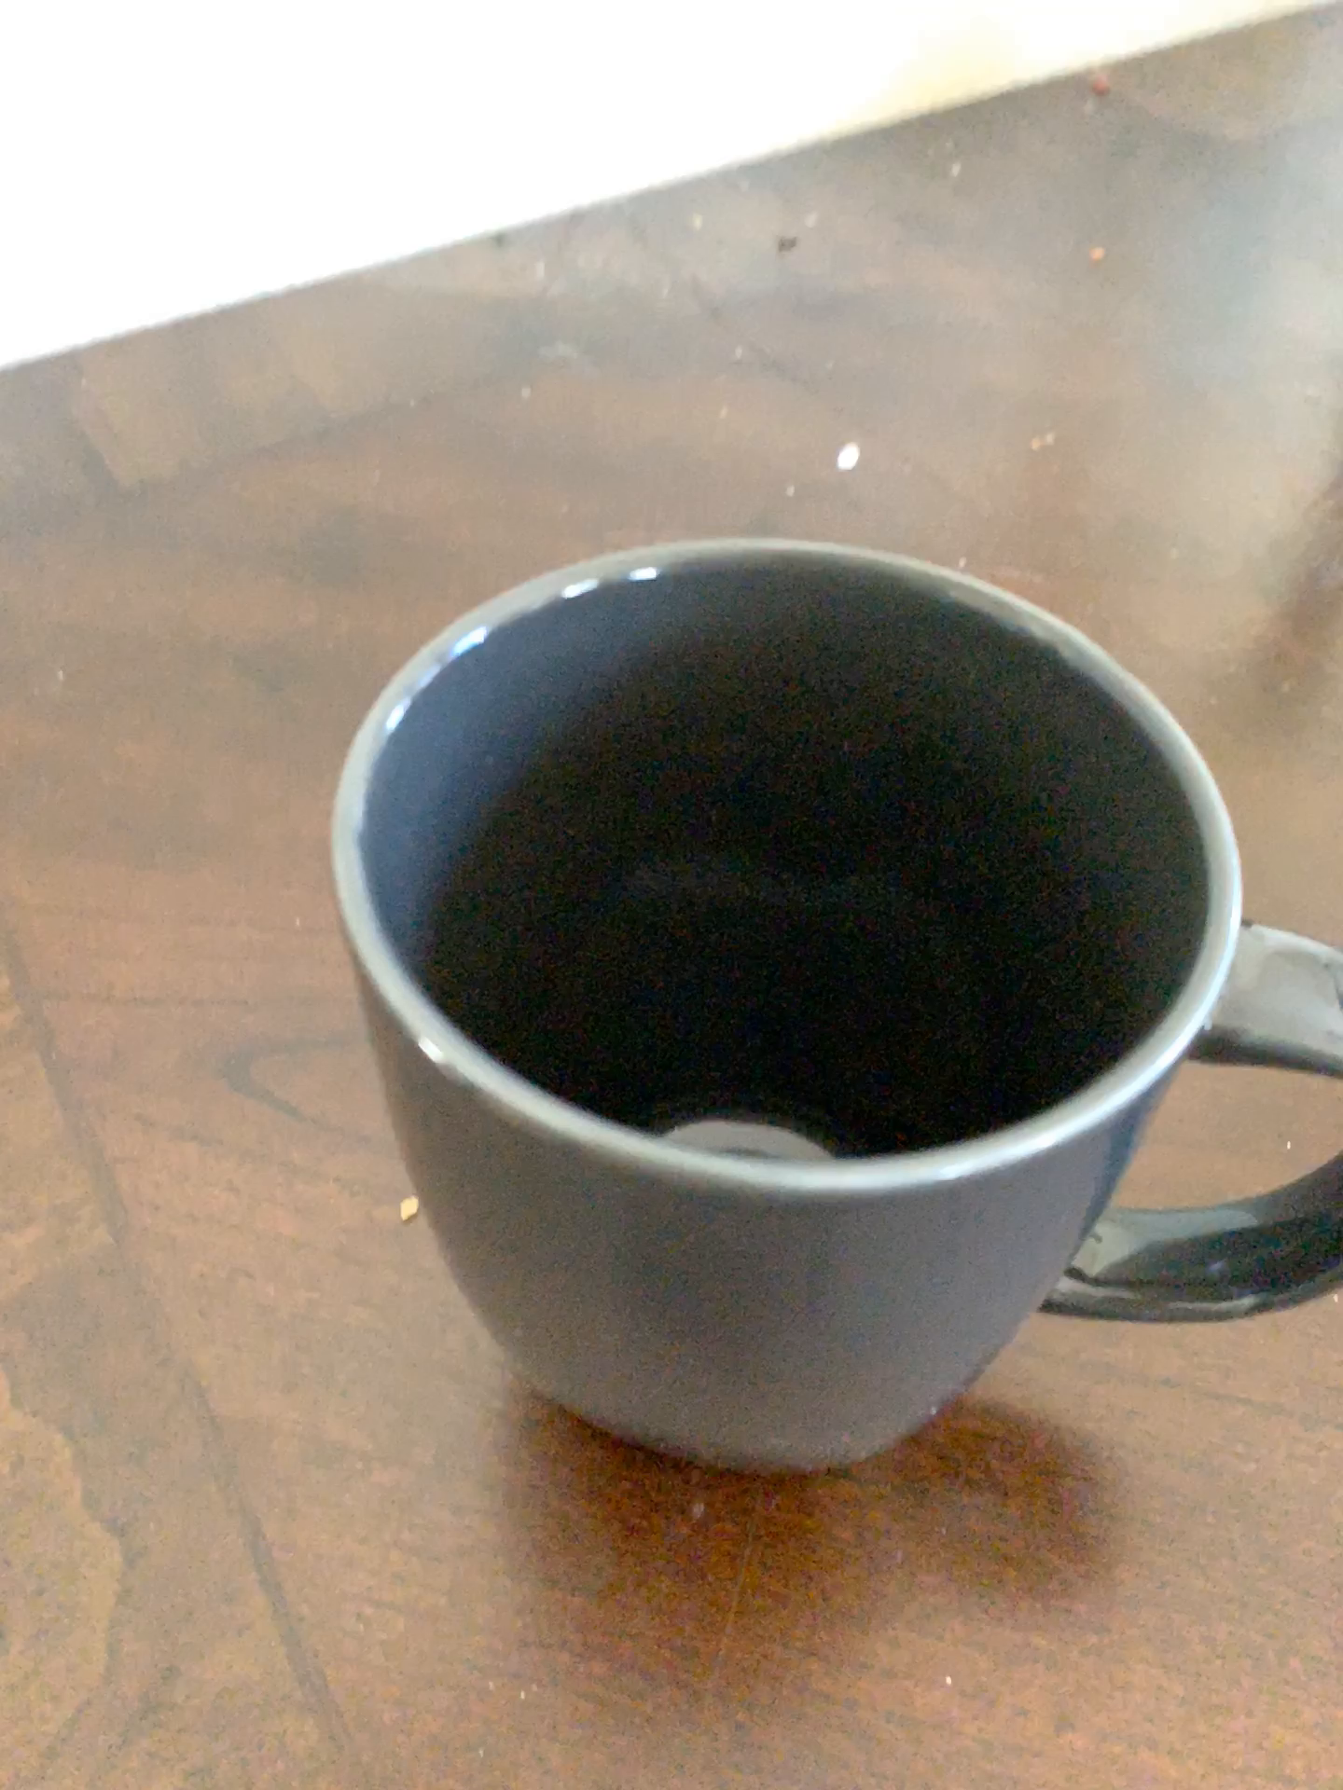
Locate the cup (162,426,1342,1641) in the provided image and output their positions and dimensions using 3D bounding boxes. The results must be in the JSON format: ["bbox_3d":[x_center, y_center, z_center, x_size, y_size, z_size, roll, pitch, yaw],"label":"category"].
[{"bbox_3d":[0.023,0.017,0.163,0.107,0.096,0.089,7,50,7],"label":"cup"}]
